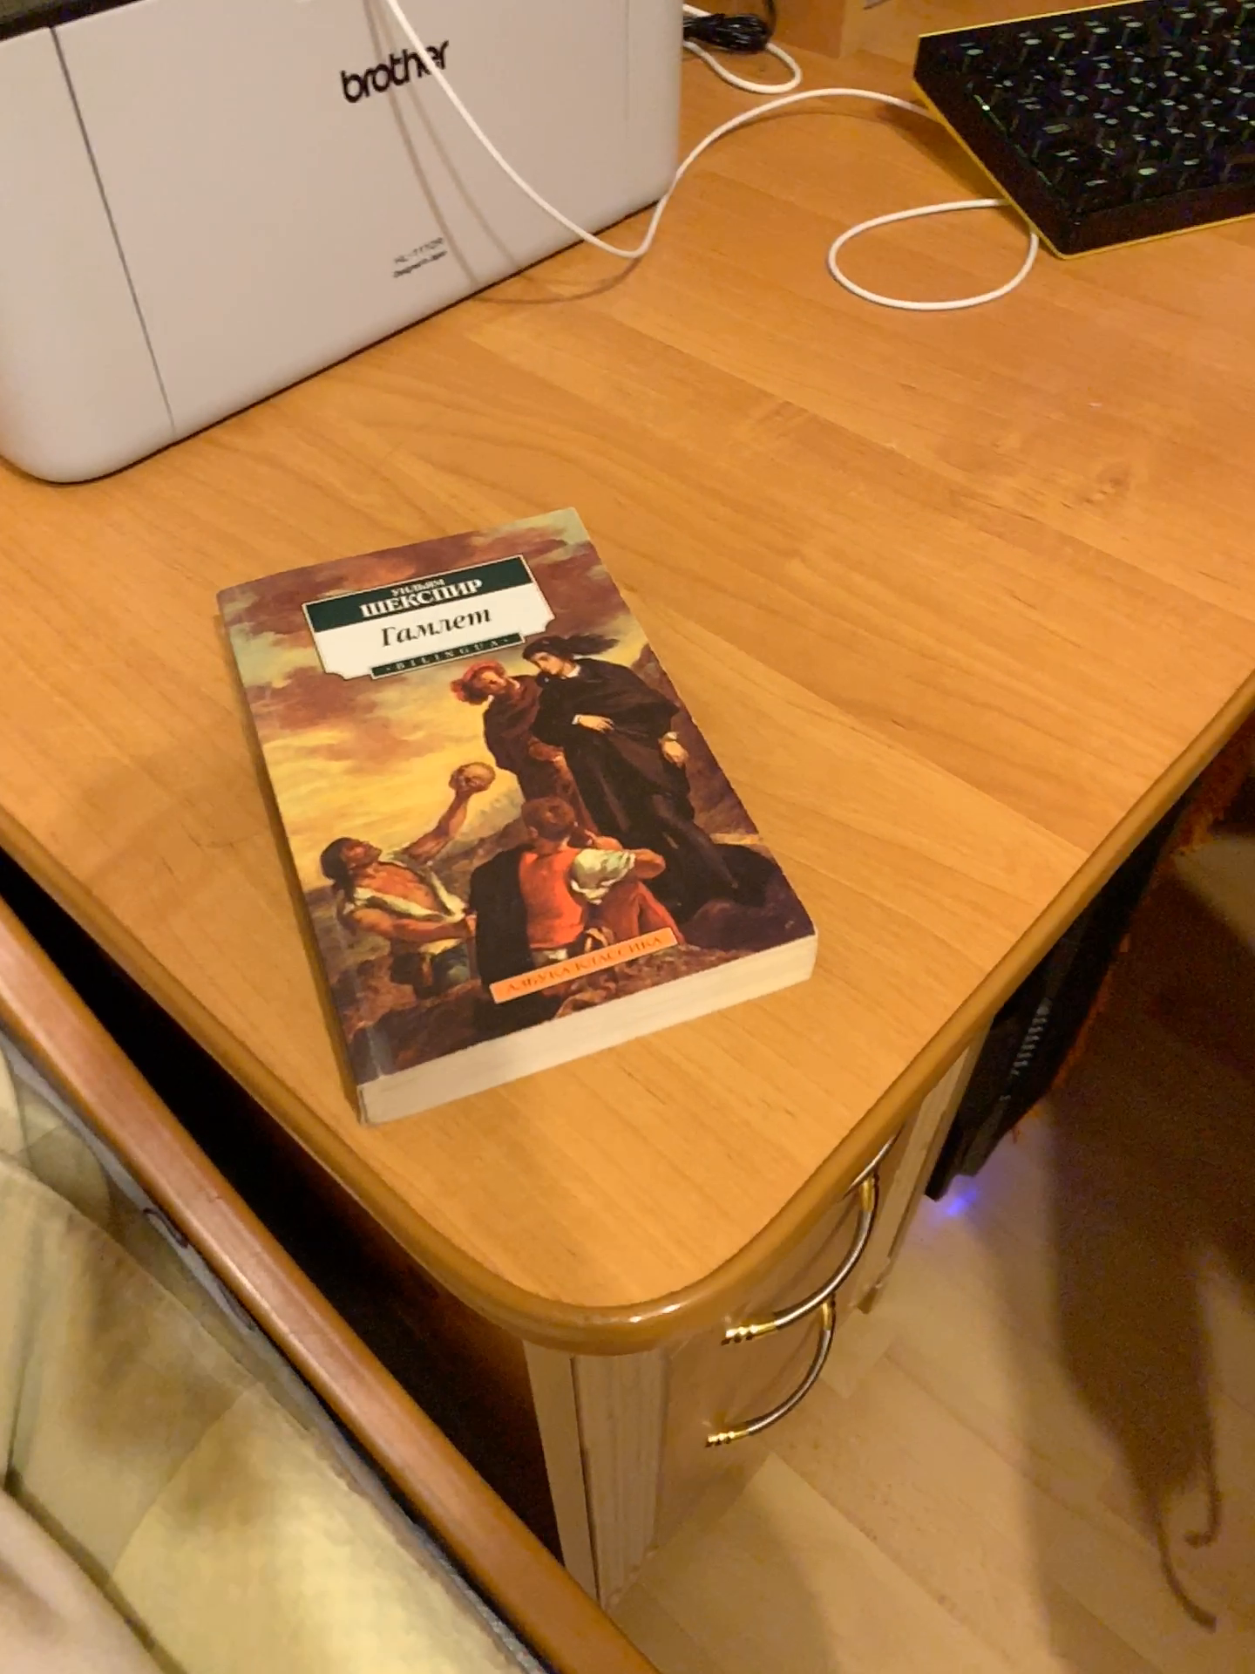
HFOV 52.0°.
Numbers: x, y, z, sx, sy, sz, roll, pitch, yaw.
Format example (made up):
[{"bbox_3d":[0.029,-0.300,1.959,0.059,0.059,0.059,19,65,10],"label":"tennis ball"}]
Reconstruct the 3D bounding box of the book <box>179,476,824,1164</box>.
[{"bbox_3d":[-0.044,-0.021,0.349,0.120,0.030,0.191,-15,52,-13],"label":"book"}]
